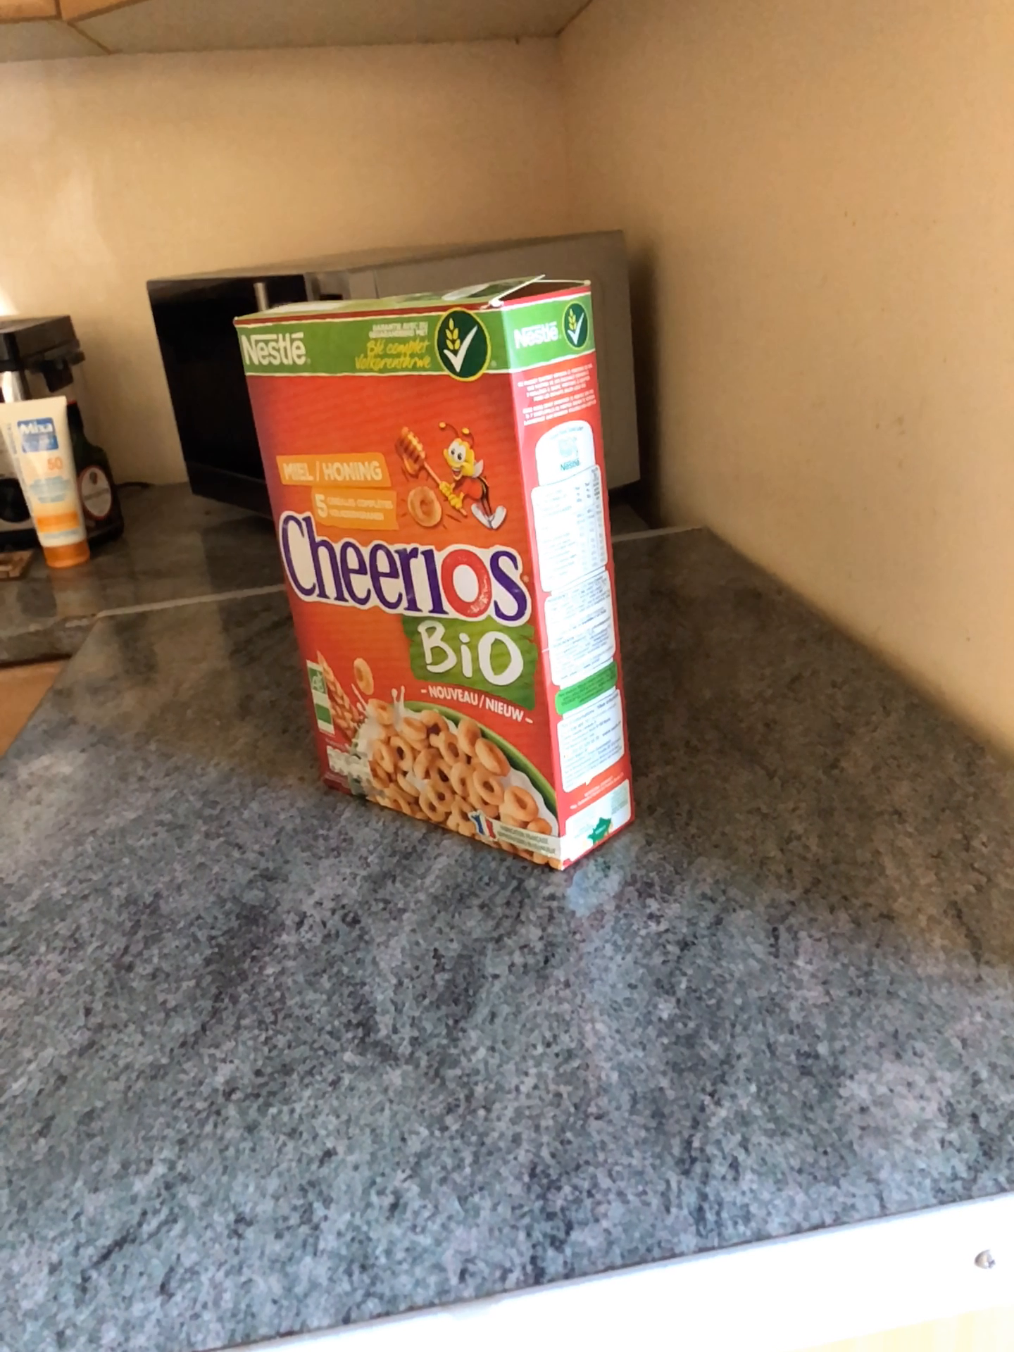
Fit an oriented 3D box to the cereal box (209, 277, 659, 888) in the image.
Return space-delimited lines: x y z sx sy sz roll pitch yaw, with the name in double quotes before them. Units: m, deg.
"cereal box" -0.036 -0.054 0.561 0.200 0.259 0.080 12 27 42
